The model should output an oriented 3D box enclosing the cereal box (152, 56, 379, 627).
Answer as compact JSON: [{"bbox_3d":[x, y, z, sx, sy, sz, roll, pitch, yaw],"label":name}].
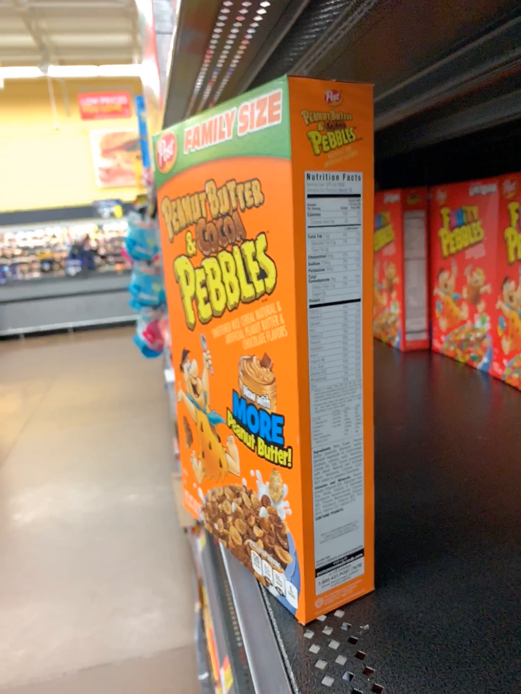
[{"bbox_3d":[-0.004,-0.006,0.416,0.060,0.339,0.200,-10,13,-30],"label":"cereal box"}]
